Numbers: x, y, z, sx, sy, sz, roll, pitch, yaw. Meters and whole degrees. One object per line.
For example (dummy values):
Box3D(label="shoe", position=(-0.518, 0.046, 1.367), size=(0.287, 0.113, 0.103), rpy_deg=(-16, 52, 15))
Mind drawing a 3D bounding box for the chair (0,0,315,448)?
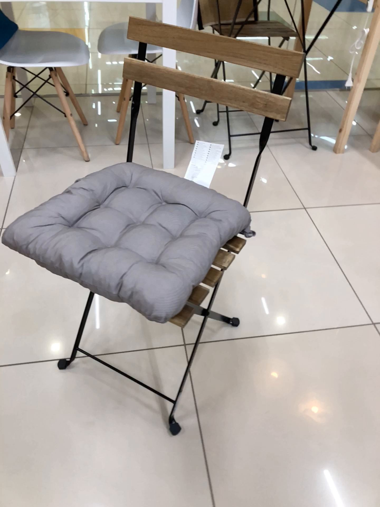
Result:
Box3D(label="chair", position=(-0.097, -0.046, 0.905), size=(0.440, 0.764, 0.443), rpy_deg=(21, 45, 19))
